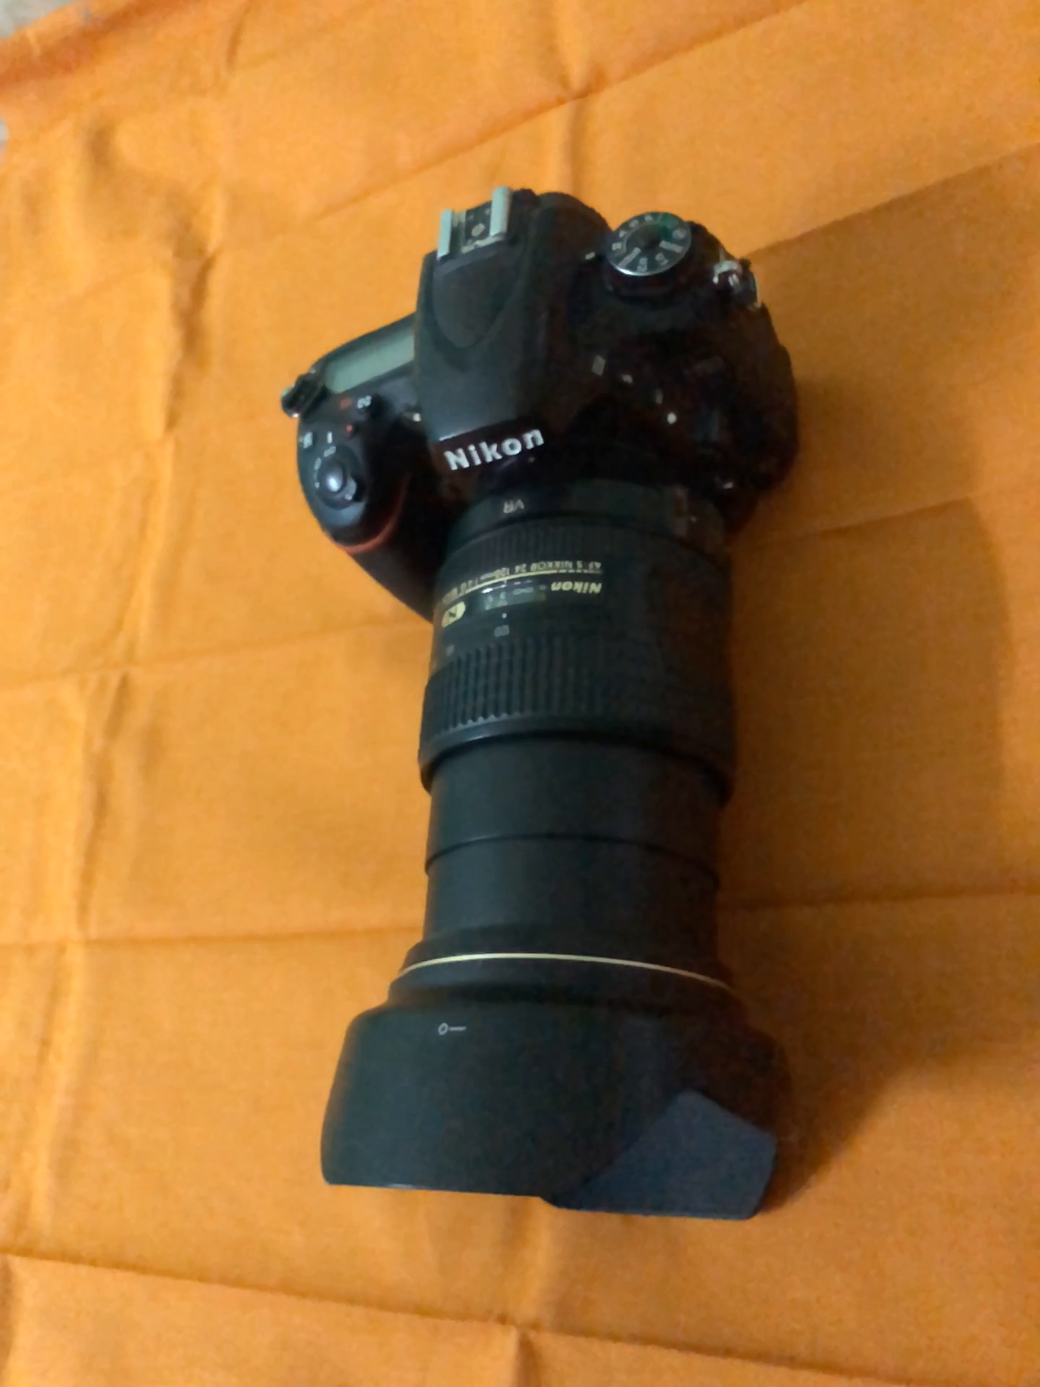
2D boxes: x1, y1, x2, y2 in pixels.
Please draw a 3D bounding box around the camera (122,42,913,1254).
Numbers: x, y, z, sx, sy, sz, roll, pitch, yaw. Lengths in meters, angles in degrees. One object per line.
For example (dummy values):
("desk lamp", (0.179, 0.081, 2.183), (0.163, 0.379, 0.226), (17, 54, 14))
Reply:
("camera", (0.007, -0.004, 0.305), (0.131, 0.120, 0.264), (-12, 64, 27))
